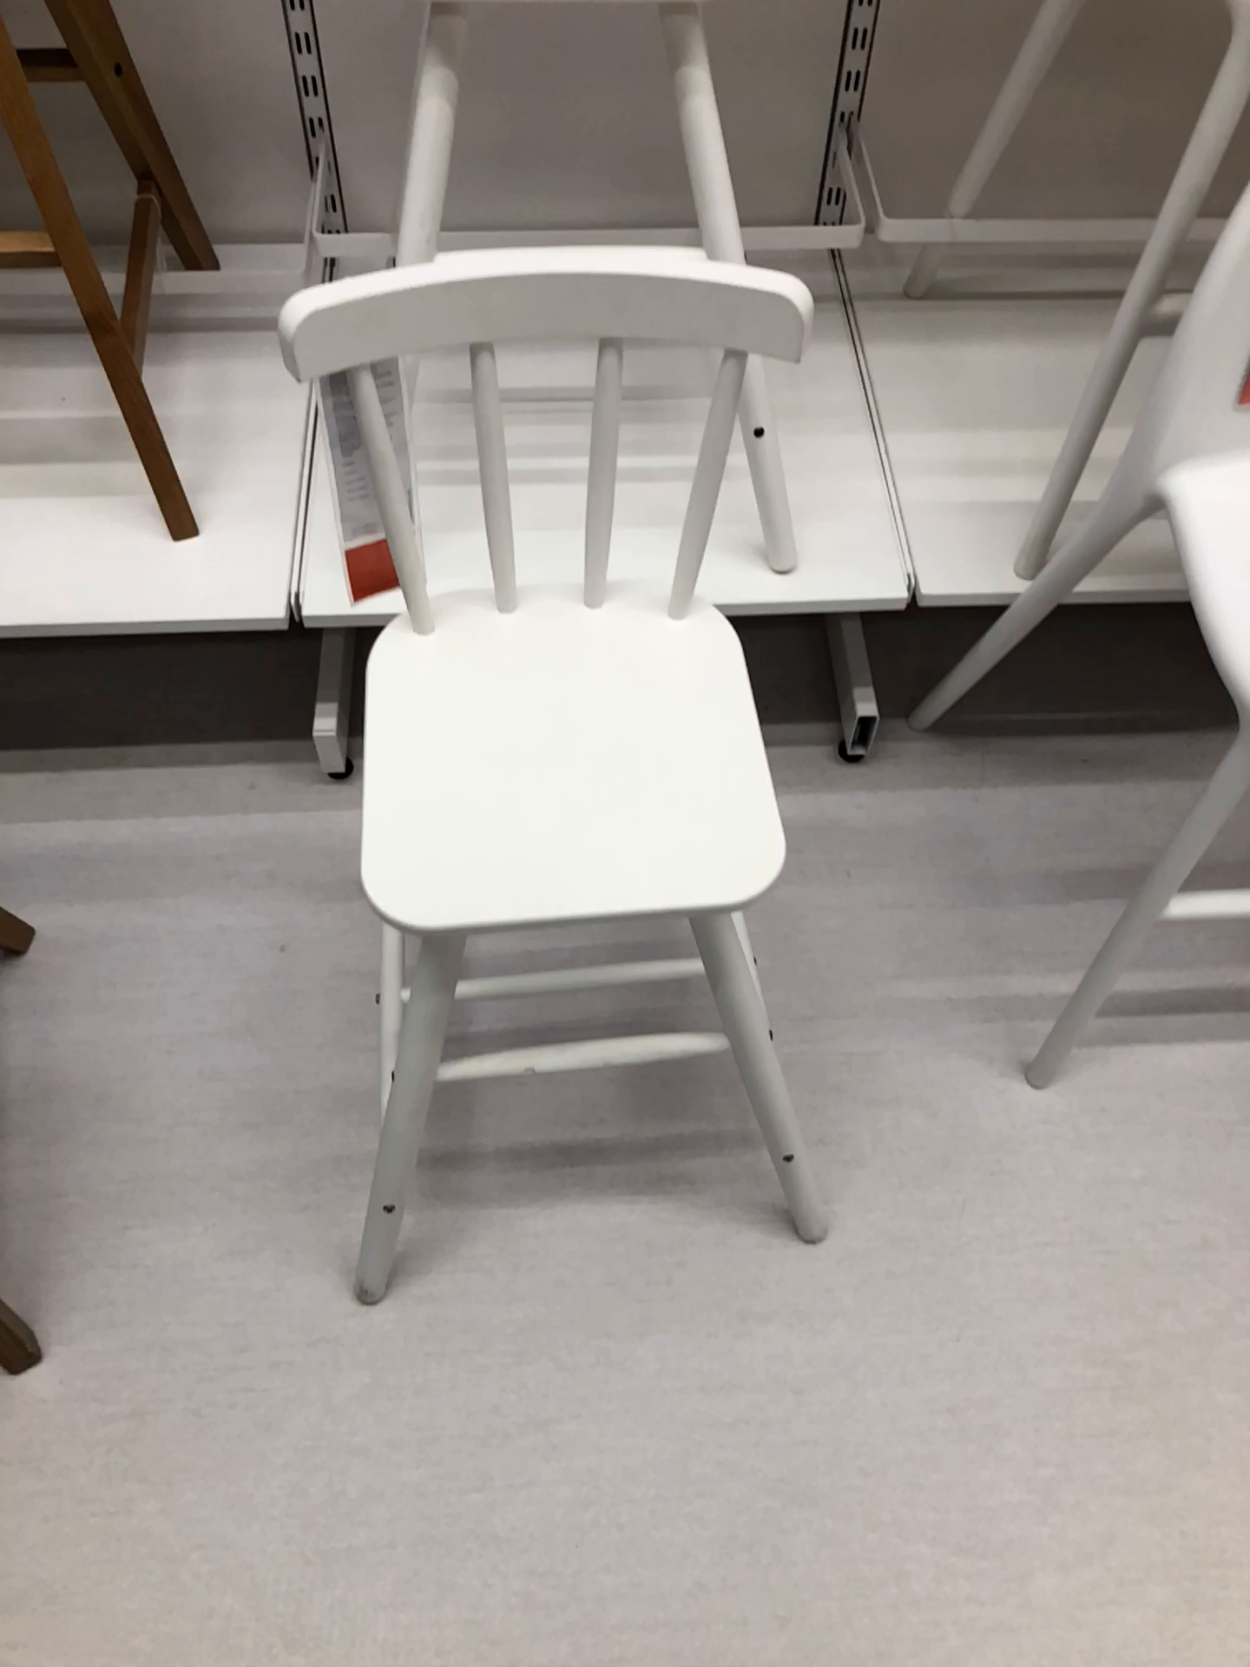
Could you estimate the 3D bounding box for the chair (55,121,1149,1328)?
[{"bbox_3d":[-0.040,-0.010,1.056,0.470,0.796,0.503,-5,56,-5],"label":"chair"}]
